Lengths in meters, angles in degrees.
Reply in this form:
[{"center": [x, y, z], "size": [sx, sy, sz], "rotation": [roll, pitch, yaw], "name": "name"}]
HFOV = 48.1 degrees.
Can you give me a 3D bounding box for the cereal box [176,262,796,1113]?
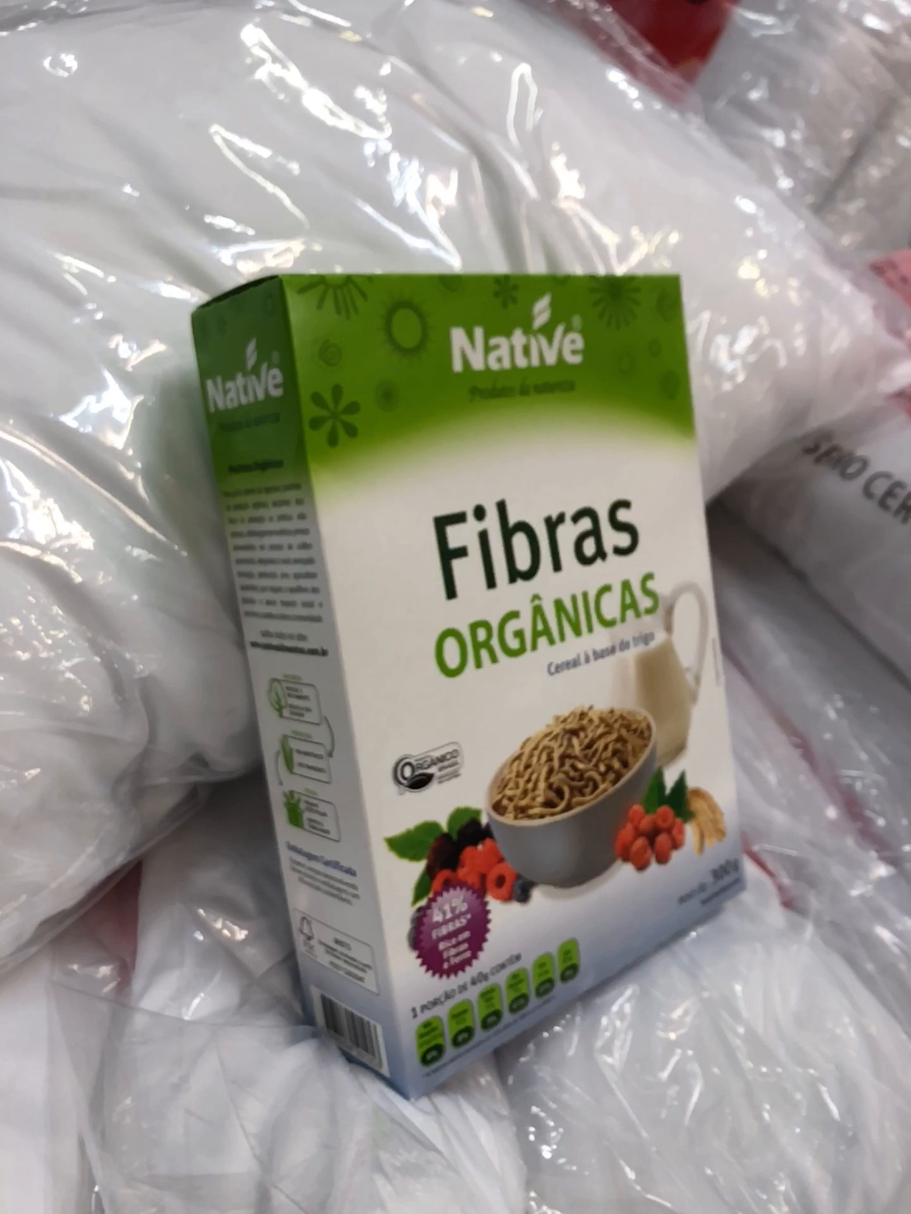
[{"center": [0.026, 0.007, 0.348], "size": [0.191, 0.229, 0.060], "rotation": [-14, 11, -37], "name": "cereal box"}]
